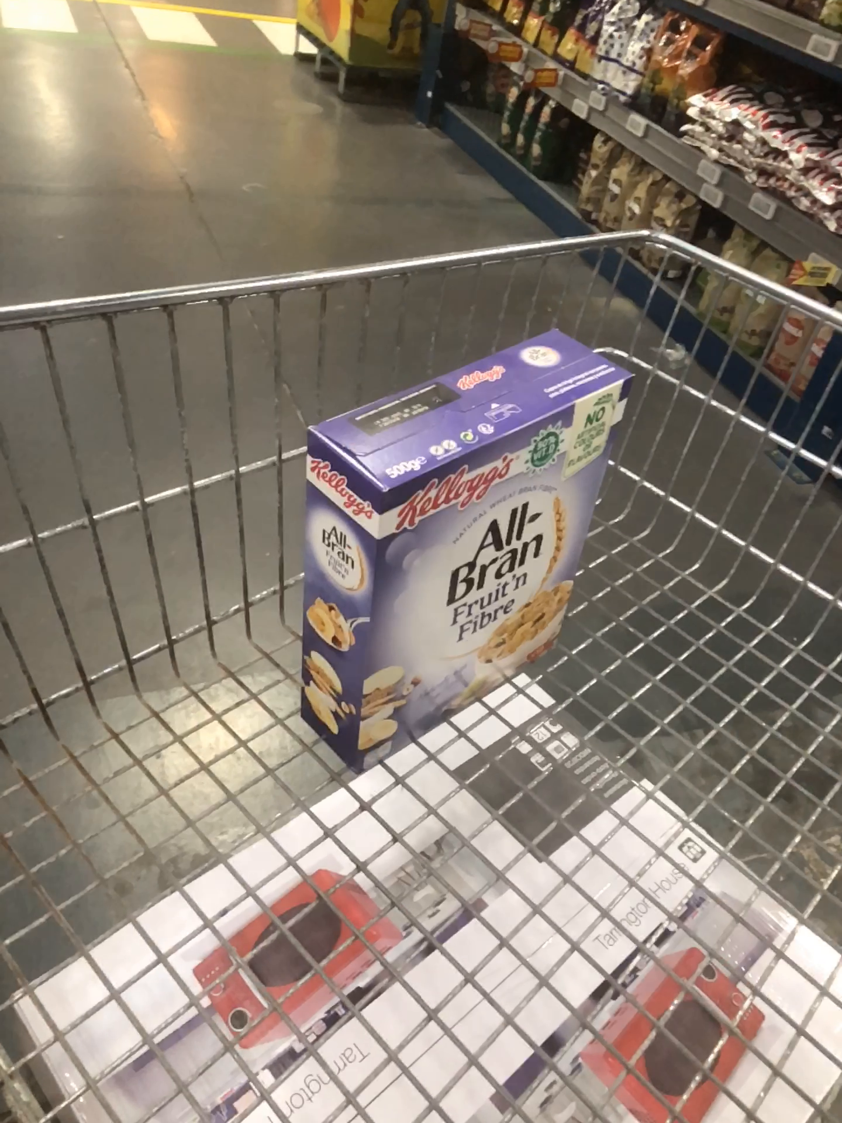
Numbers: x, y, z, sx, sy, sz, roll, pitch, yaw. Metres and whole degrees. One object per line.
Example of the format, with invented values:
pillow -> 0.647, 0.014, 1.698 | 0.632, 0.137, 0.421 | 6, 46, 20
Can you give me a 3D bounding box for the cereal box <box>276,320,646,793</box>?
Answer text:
cereal box -> 0.017, -0.003, 0.575 | 0.201, 0.229, 0.080 | -29, 54, -33
